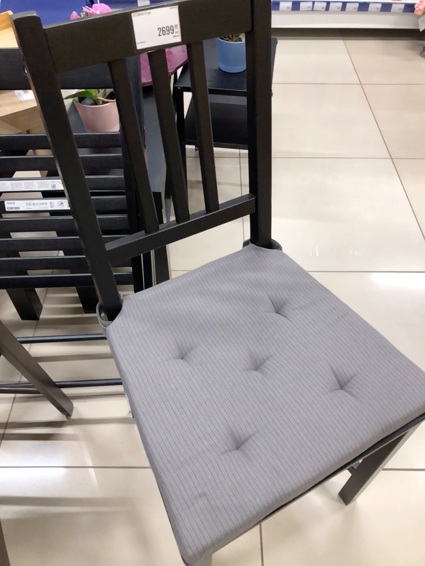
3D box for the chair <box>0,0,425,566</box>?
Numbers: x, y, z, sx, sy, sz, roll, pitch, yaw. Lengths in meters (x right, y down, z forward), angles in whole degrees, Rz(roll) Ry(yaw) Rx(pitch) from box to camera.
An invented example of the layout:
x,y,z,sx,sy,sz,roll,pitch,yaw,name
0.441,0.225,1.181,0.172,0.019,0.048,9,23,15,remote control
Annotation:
x,y,z,sx,sy,sz,roll,pitch,yaw,name
0.042,0.110,0.744,0.411,0.894,0.492,-22,53,-18,chair
